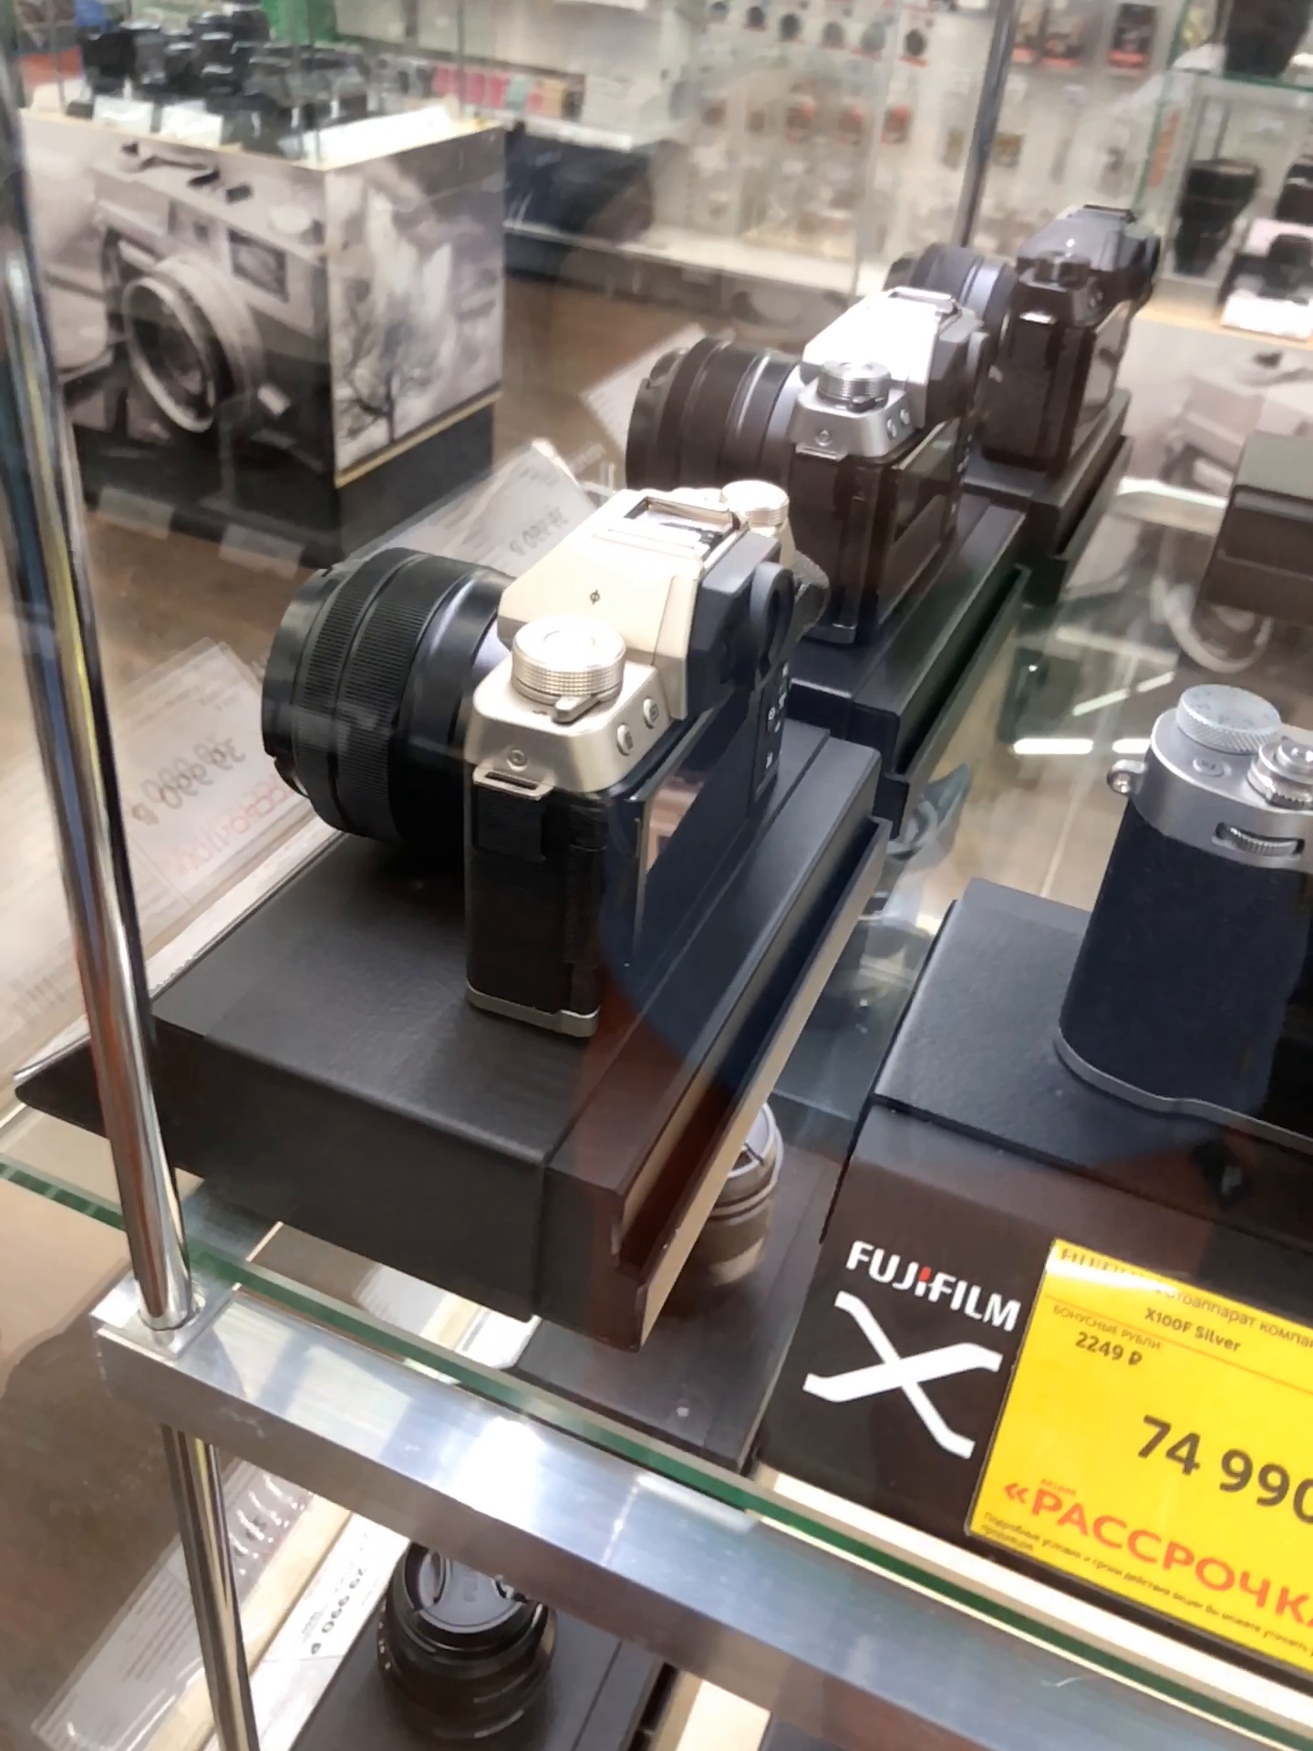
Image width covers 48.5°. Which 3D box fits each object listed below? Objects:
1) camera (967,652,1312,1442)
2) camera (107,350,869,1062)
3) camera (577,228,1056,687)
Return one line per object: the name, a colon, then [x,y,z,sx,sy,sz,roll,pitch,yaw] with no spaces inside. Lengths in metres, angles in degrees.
camera: [0.132,0.024,0.248,0.132,0.076,0.055,19,37,18]
camera: [-0.026,-0.046,0.308,0.100,0.080,0.132,16,36,14]
camera: [0.053,-0.139,0.462,0.102,0.086,0.141,17,37,16]
